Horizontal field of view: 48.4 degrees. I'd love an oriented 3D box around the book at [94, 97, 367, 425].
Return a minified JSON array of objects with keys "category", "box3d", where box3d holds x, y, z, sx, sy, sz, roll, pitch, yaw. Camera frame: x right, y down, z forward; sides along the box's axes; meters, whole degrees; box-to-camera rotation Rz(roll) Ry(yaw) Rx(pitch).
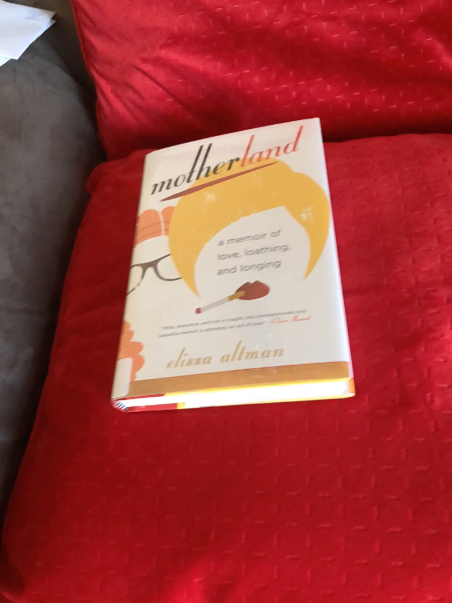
[{"category":"book","box3d":[0.005,-0.034,0.323,0.140,0.040,0.210,-6,58,12]}]
